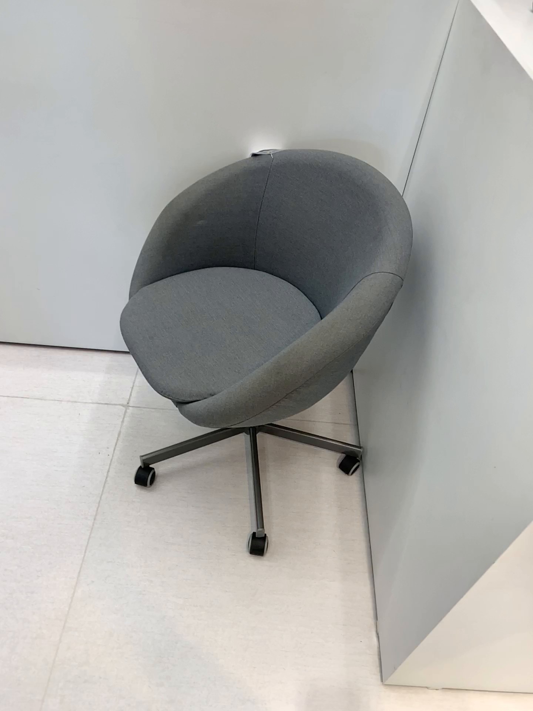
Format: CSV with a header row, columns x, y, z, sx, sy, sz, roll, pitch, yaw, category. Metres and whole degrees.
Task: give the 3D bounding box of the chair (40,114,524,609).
x,y,z,sx,sy,sz,roll,pitch,yaw,category
-0.039,-0.006,1.381,0.711,0.827,0.732,-18,51,-21,chair
